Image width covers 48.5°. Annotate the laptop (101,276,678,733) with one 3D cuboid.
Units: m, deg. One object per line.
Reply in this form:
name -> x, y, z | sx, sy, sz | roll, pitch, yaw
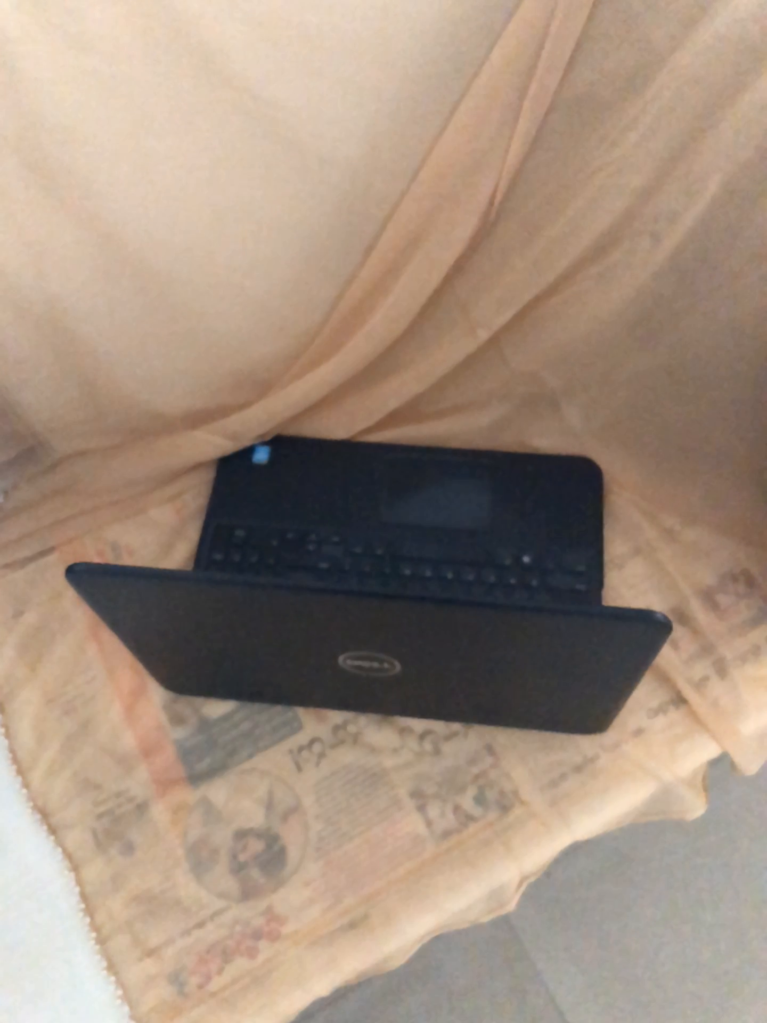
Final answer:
laptop -> 0.012, 0.000, 0.658 | 0.332, 0.238, 0.257 | 4, 61, 6
